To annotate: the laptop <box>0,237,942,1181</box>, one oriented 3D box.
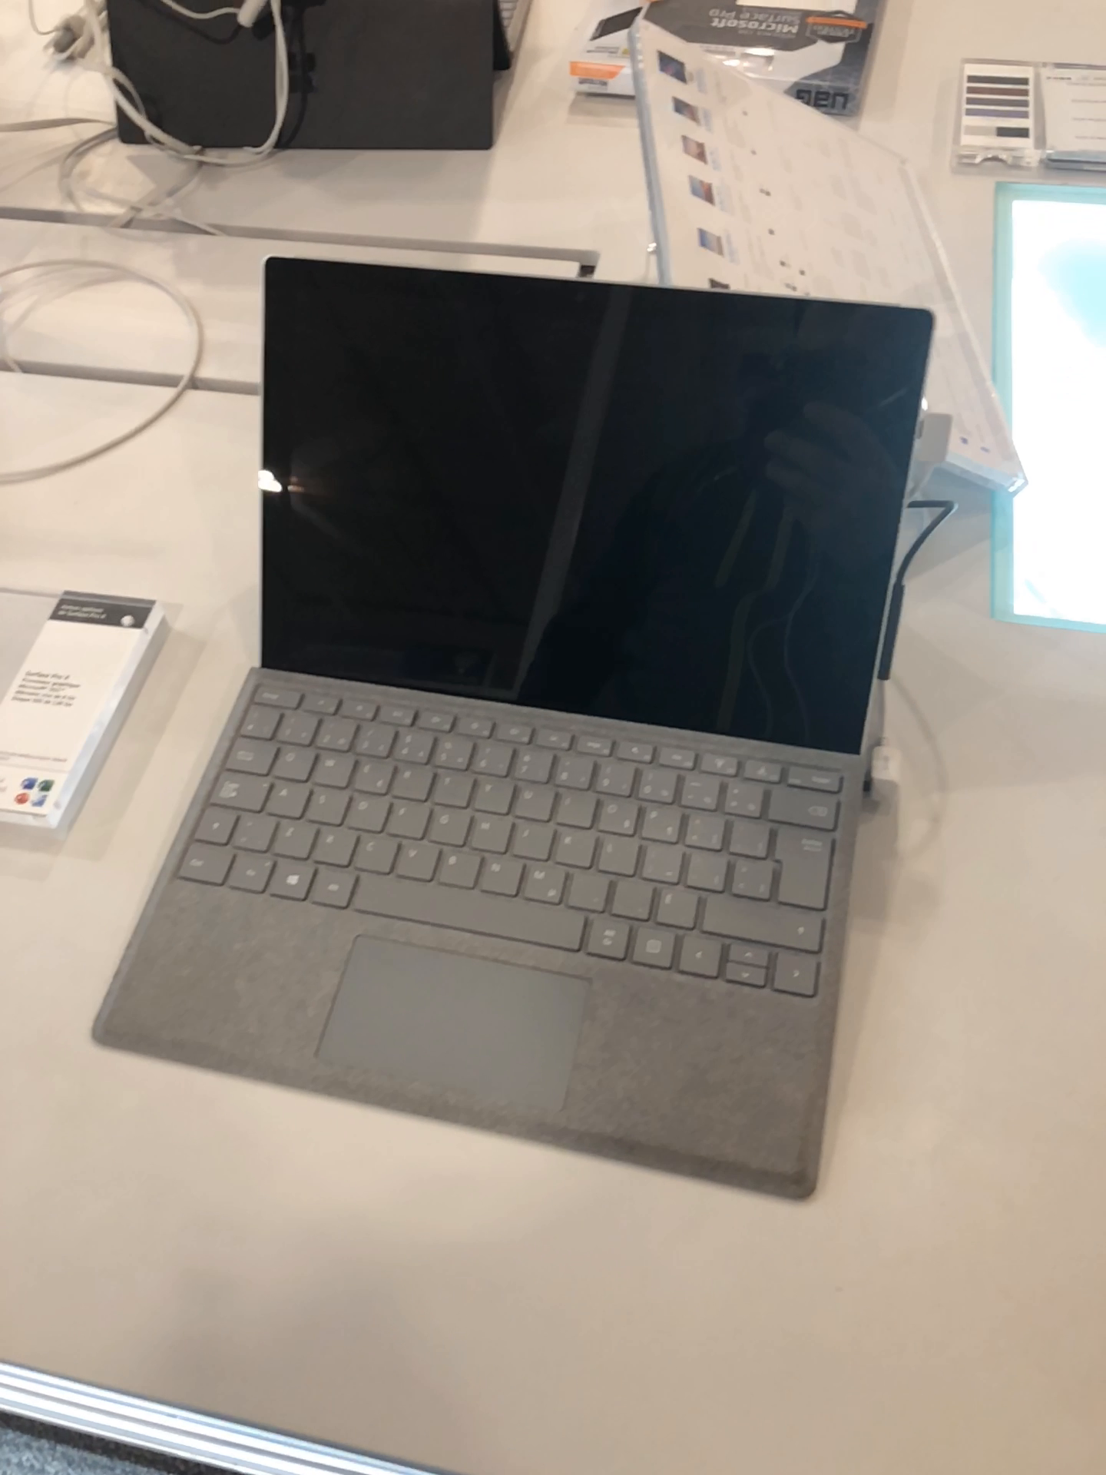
[{"bbox_3d":[-0.017,-0.027,0.481,0.279,0.147,0.298,9,58,11],"label":"laptop"}]
